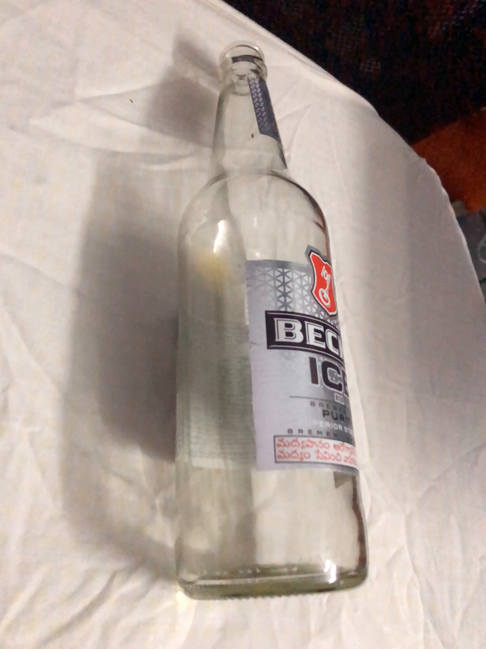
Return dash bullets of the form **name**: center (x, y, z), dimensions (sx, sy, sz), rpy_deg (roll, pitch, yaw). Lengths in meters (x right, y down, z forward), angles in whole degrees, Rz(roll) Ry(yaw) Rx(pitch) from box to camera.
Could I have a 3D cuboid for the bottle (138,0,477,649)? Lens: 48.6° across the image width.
- **bottle**: center (0.020, -0.032, 0.224), dimensions (0.080, 0.079, 0.280), rpy_deg (14, 68, -34)
